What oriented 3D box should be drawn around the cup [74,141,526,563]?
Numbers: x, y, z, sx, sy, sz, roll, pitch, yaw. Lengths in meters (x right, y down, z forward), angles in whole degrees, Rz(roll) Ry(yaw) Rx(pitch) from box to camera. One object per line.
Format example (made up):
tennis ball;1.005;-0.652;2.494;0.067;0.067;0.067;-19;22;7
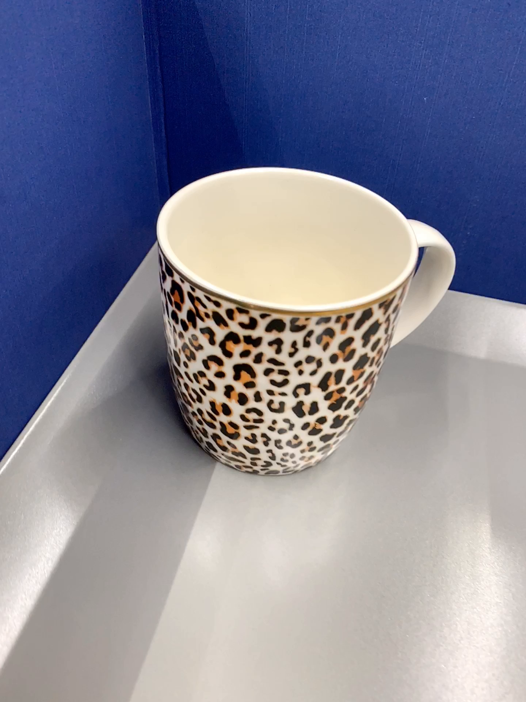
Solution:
cup;0.010;-0.009;0.217;0.126;0.095;0.099;-18;46;-23
